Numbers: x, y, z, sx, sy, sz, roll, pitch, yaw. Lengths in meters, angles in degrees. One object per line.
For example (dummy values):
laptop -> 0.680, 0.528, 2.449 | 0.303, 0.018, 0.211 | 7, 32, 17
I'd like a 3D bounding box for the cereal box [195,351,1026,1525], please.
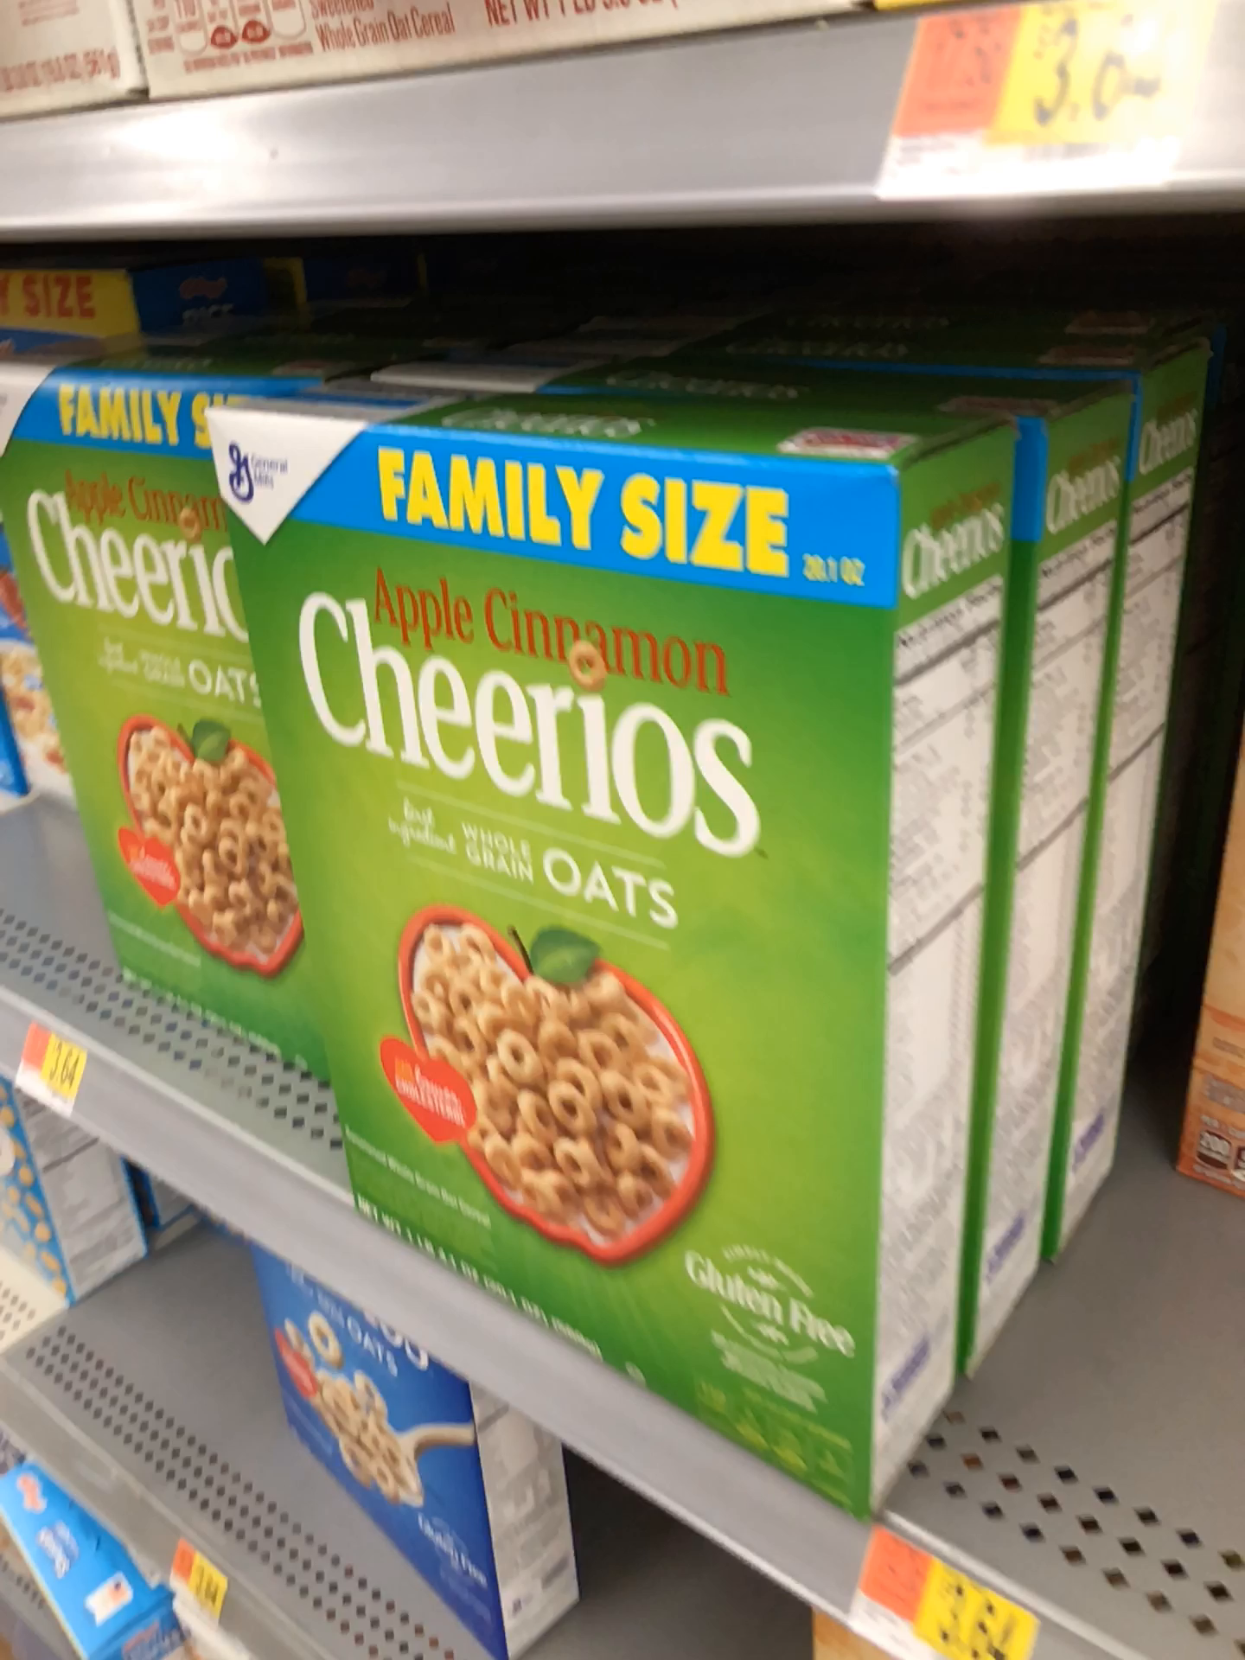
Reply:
cereal box -> -0.010, 0.023, 0.422 | 0.230, 0.309, 0.060 | 17, 31, 36
